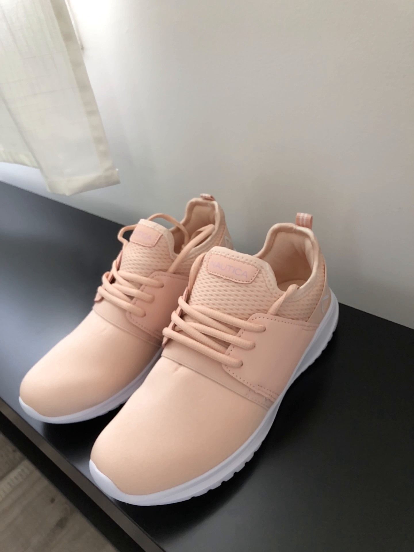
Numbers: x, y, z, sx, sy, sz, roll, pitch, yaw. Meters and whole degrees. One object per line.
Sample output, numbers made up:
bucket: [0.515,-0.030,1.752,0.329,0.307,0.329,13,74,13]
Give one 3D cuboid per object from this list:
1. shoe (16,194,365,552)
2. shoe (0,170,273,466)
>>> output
shoe: [0.011,0.050,0.338,0.100,0.110,0.240,21,47,36]
shoe: [-0.057,0.016,0.408,0.100,0.110,0.250,21,47,36]
